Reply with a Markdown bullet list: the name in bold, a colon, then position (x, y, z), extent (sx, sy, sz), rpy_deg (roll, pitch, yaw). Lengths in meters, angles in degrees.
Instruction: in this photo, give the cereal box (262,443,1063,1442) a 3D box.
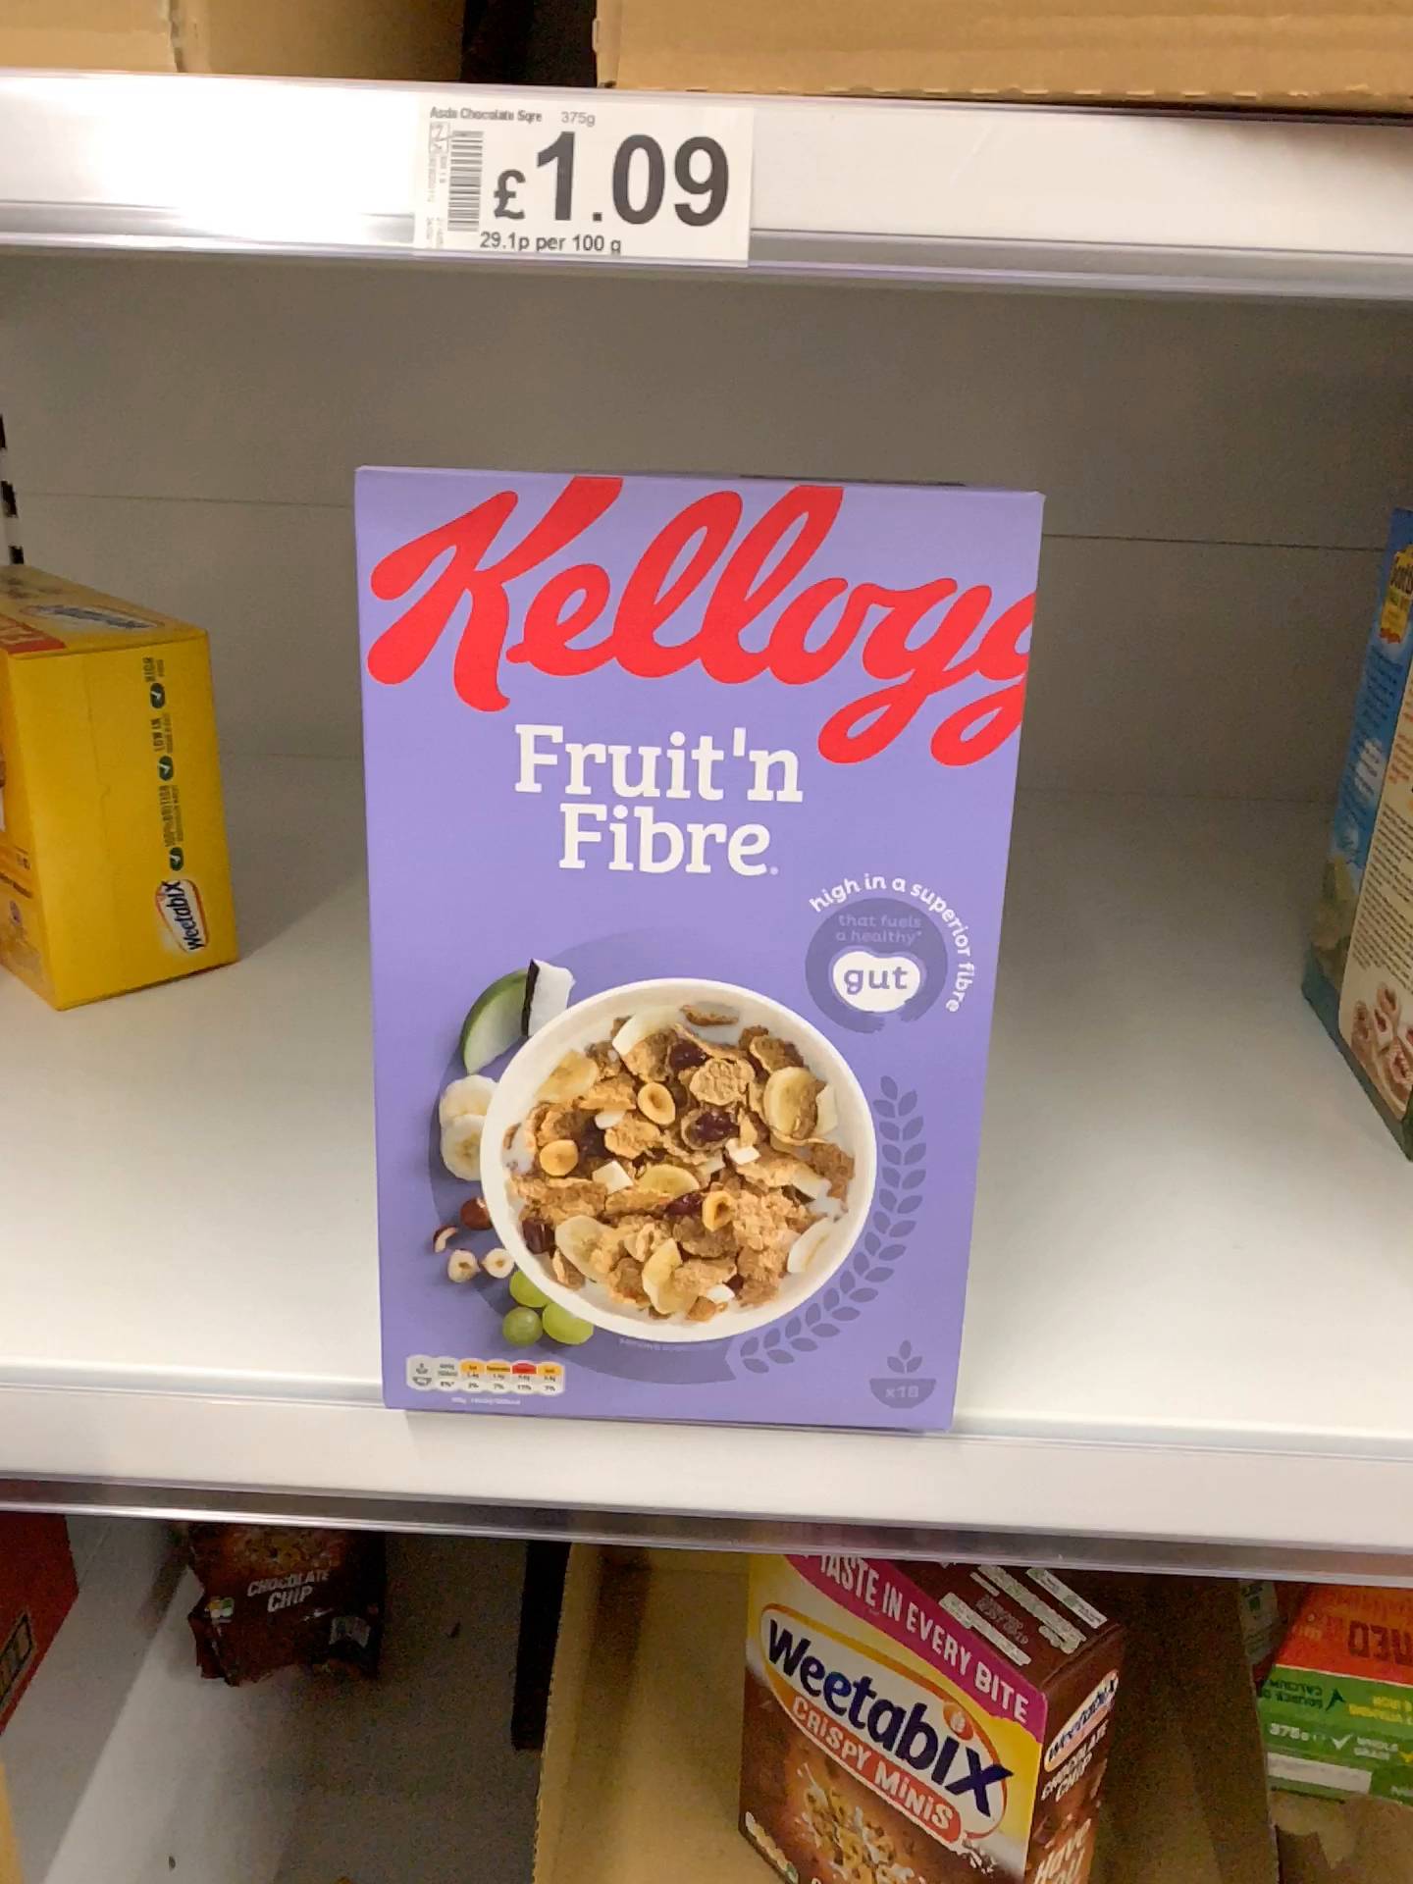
- **cereal box**: position (-0.016, 0.003, 0.463), extent (0.210, 0.298, 0.081), rpy_deg (2, 17, 0)
